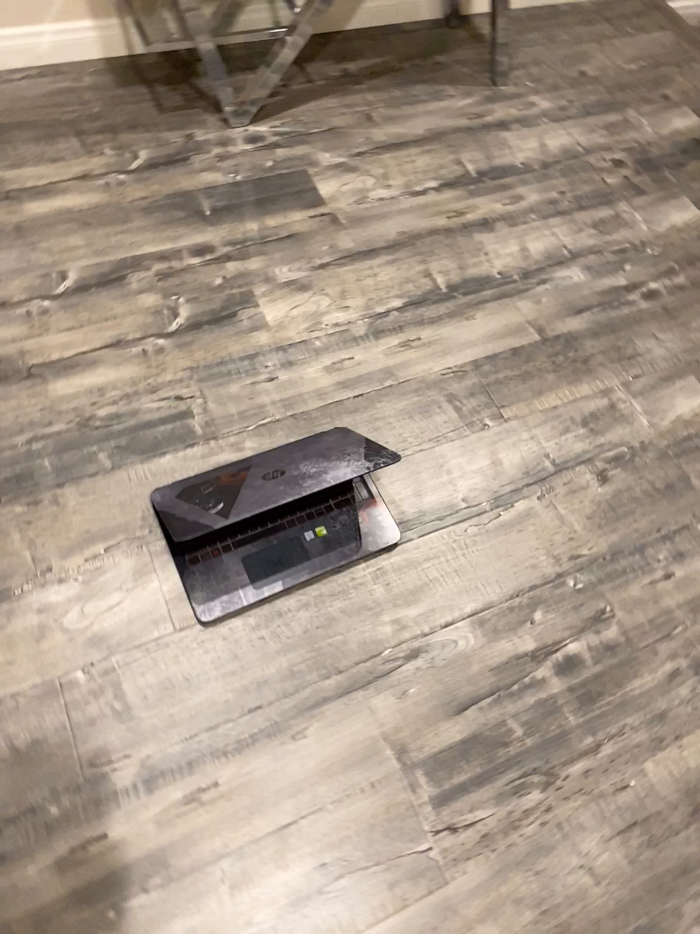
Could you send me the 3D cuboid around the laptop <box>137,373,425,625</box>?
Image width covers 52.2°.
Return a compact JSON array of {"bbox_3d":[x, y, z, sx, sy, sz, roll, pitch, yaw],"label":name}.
[{"bbox_3d":[-0.116,0.046,1.179,0.374,0.177,0.250,-20,65,-19],"label":"laptop"}]
